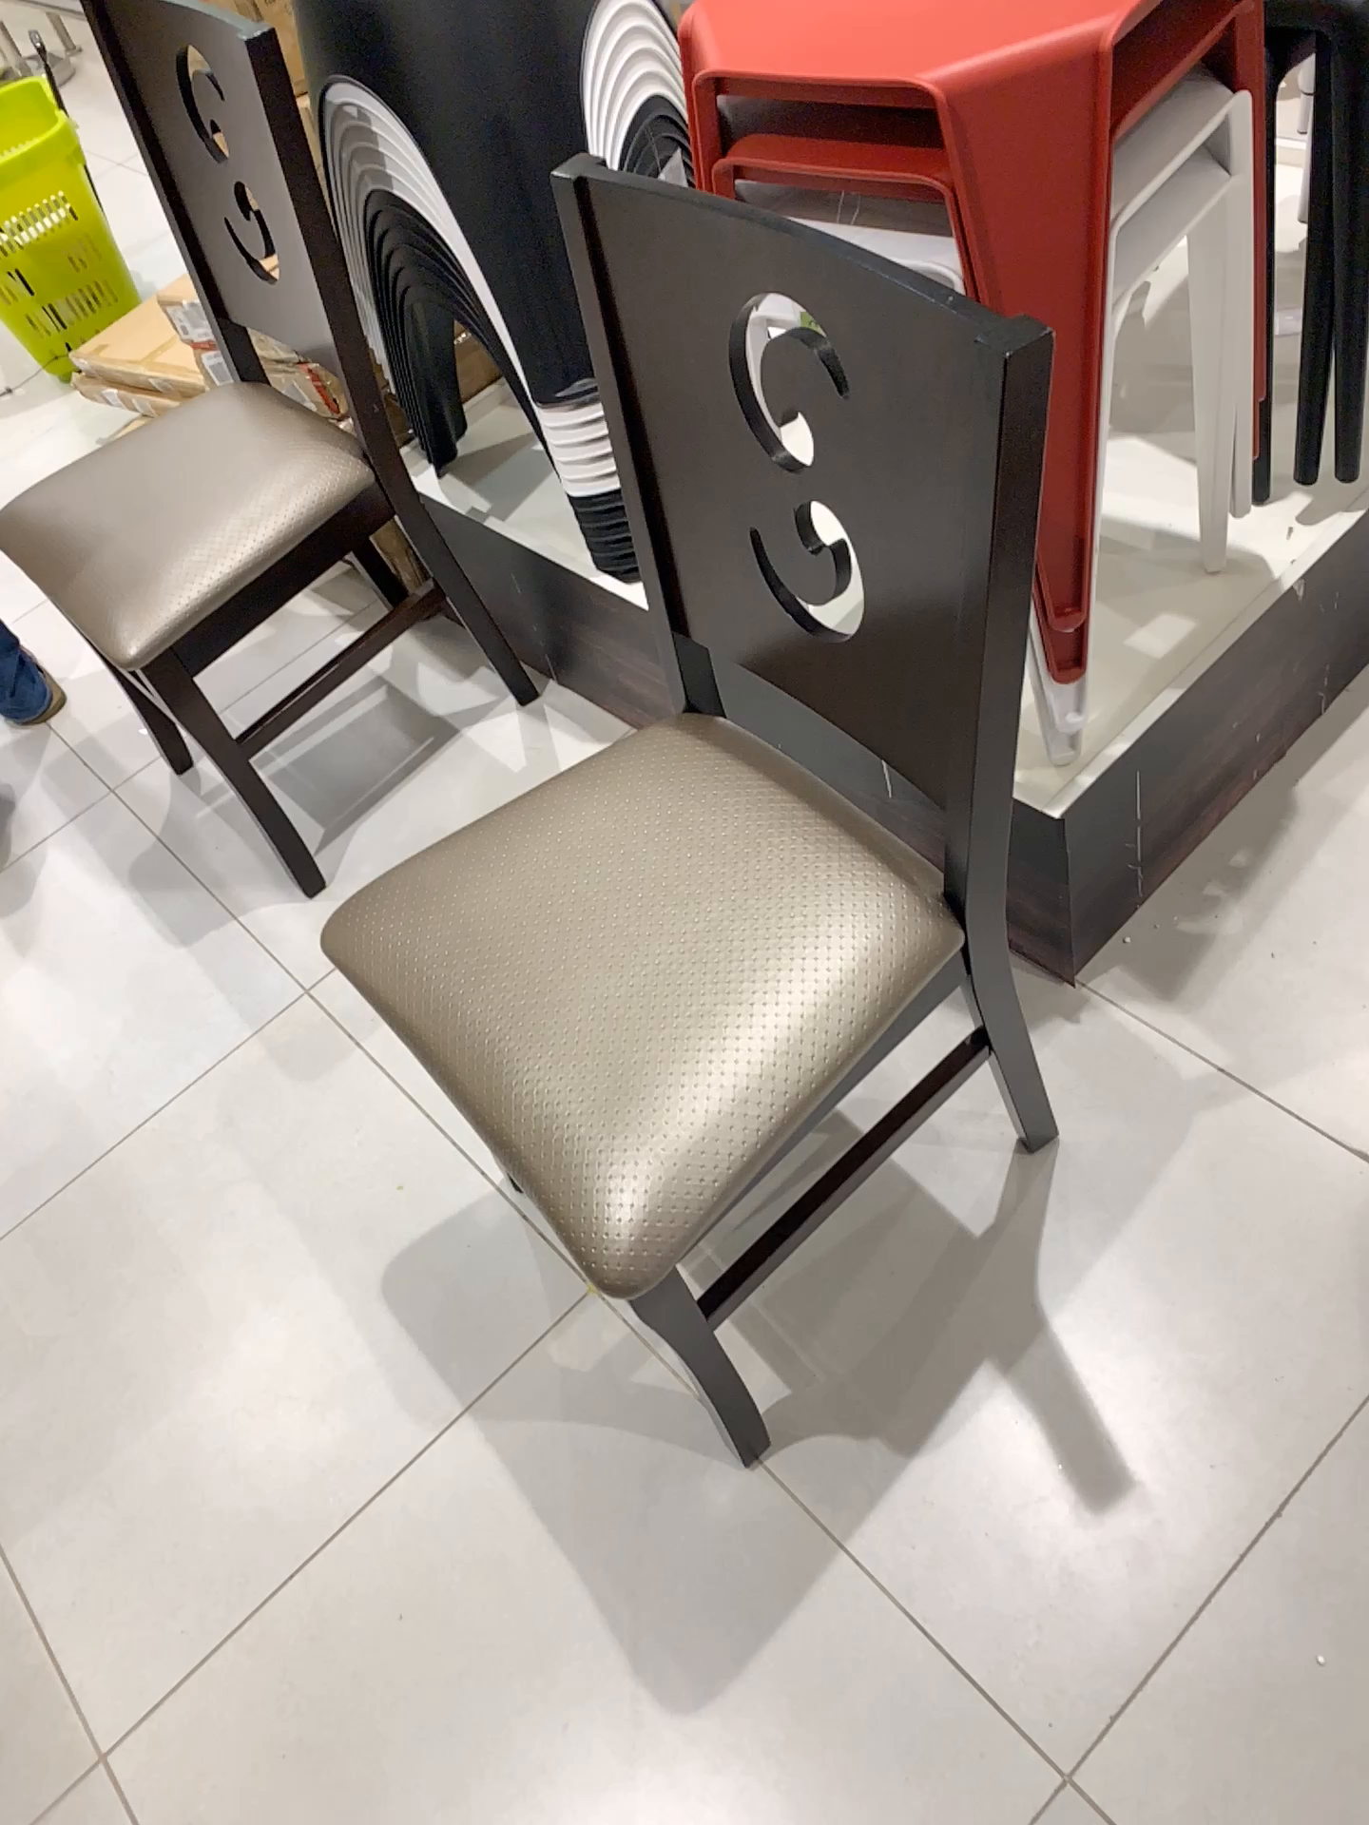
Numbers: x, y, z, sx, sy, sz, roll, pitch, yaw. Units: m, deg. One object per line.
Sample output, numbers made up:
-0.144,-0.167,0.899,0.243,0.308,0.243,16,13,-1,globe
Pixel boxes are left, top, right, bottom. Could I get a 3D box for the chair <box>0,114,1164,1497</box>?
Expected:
-0.010,-0.036,1.112,0.520,0.847,0.502,-39,52,-15,chair
